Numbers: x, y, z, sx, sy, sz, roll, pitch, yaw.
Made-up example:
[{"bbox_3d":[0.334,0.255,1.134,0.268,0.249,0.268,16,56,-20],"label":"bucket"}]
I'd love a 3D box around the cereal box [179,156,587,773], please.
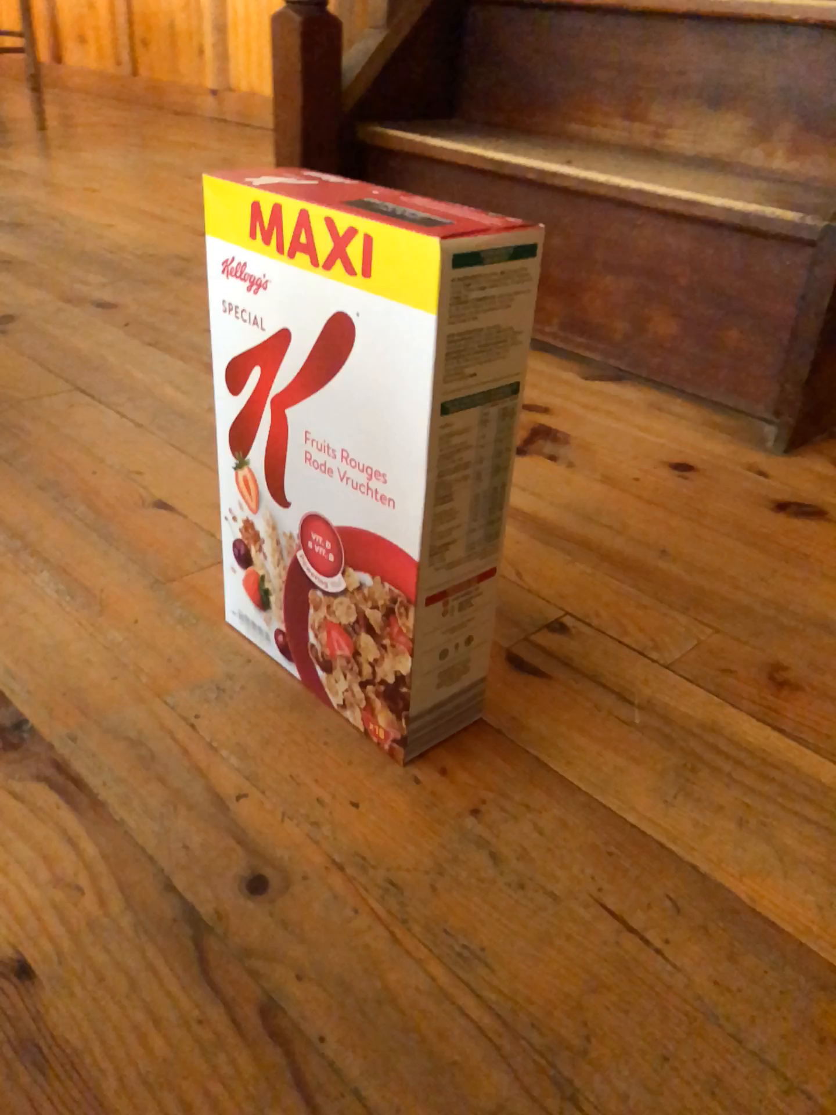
[{"bbox_3d":[-0.035,-0.061,0.532,0.090,0.288,0.210,-22,39,-38],"label":"cereal box"}]
